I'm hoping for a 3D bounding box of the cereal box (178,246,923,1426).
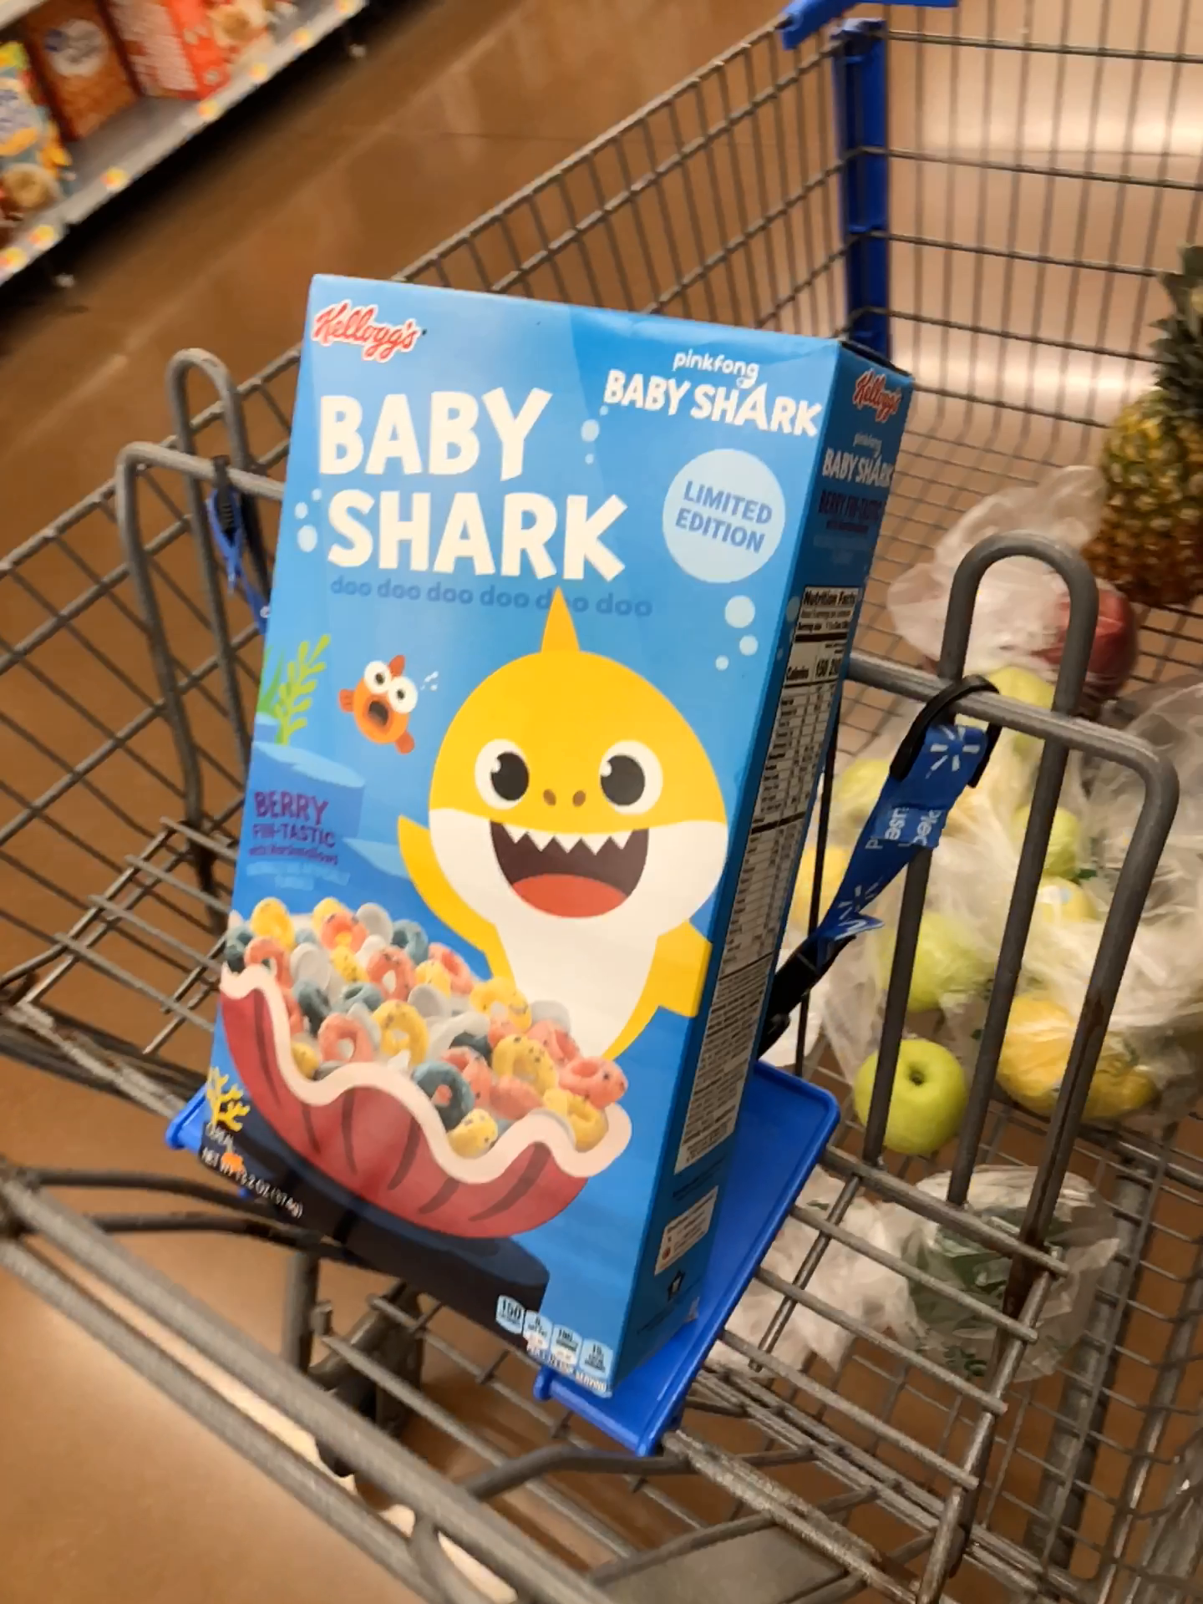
[{"bbox_3d":[-0.034,0.007,0.454,0.190,0.340,0.070,20,18,28],"label":"cereal box"}]
